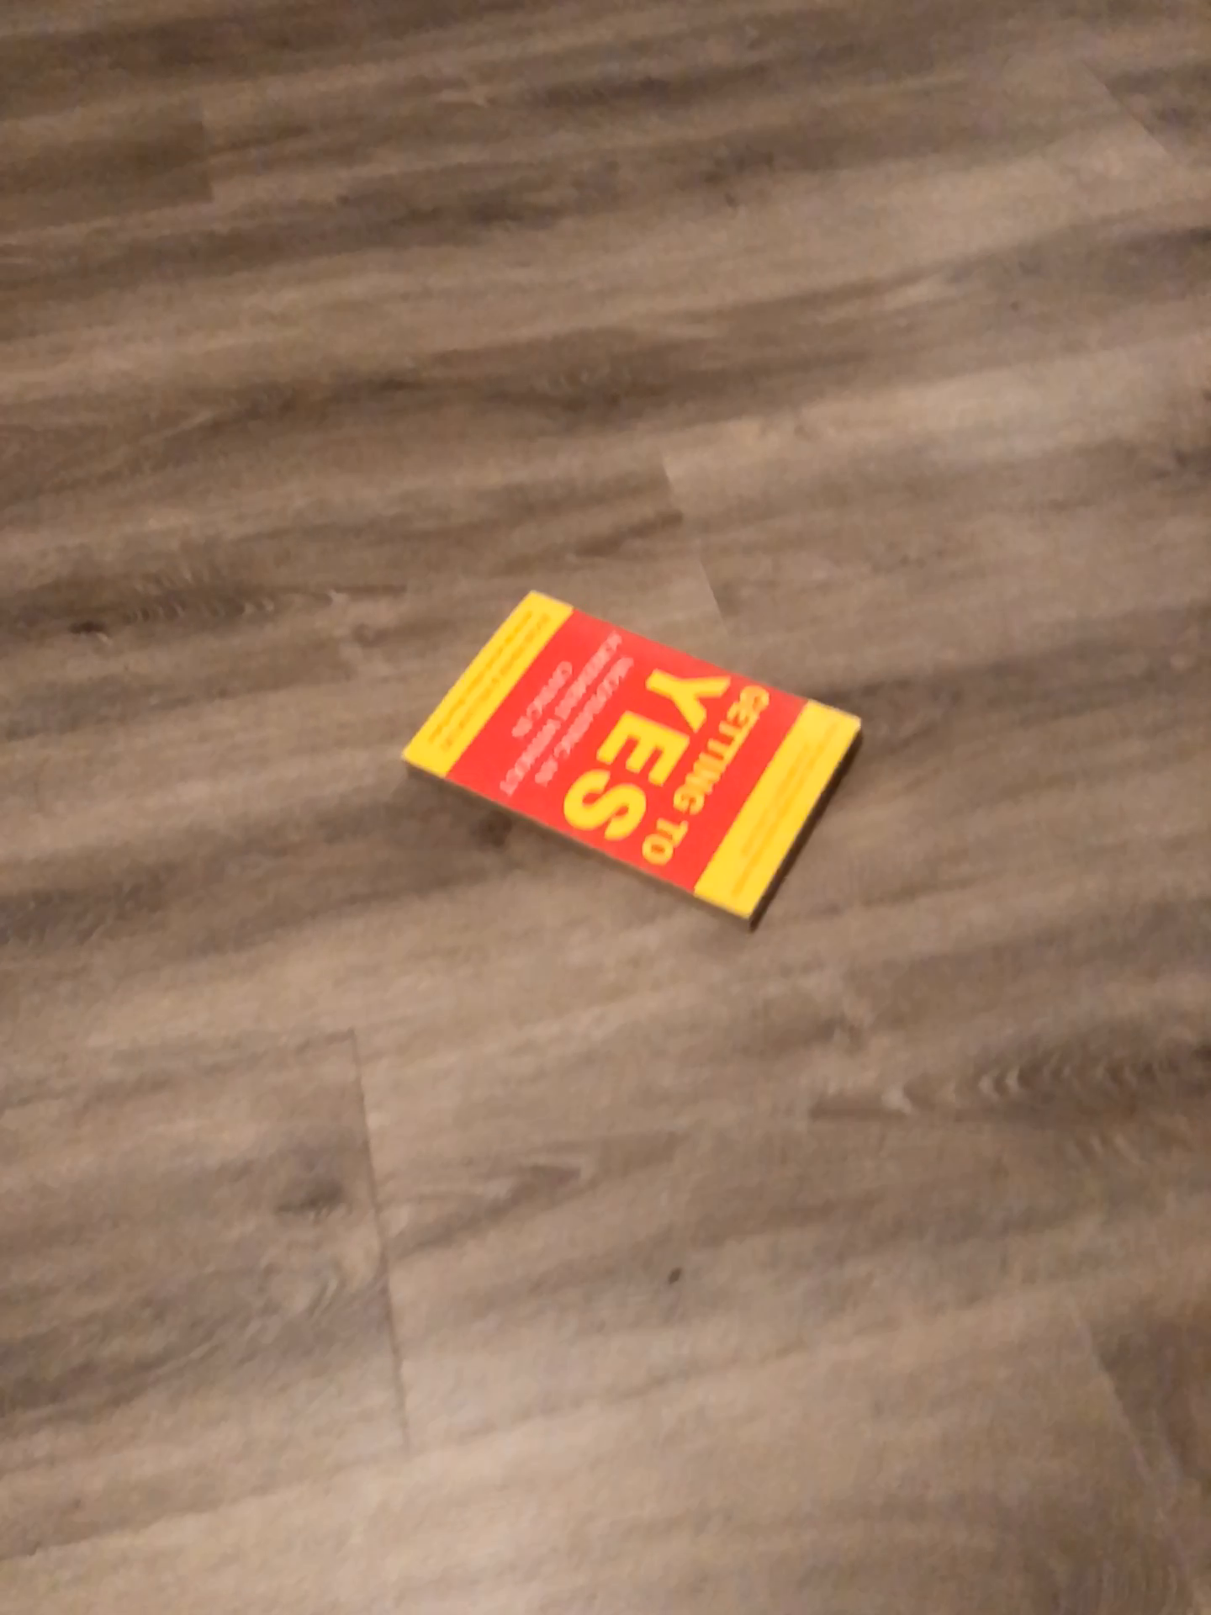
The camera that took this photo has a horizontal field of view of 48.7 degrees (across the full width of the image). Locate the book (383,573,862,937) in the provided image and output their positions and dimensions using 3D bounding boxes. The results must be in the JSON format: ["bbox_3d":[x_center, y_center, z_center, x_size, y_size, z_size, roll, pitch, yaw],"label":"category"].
[{"bbox_3d":[0.009,-0.033,0.650,0.190,0.026,0.130,24,59,19],"label":"book"}]
